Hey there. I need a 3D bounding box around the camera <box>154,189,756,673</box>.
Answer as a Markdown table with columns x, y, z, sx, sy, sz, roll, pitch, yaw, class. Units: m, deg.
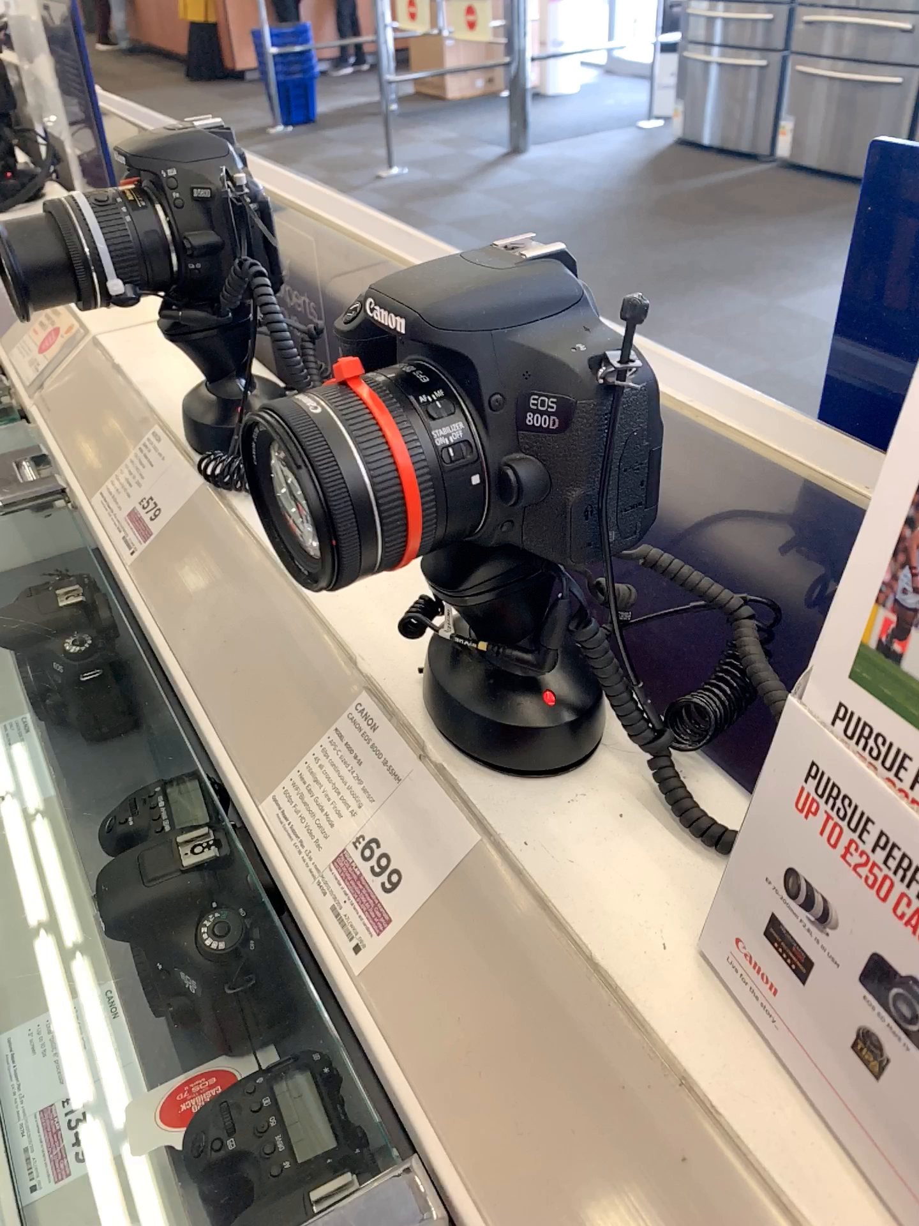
| x | y | z | sx | sy | sz | roll | pitch | yaw | class |
| --- | --- | --- | --- | --- | --- | --- | --- | --- | --- |
| -0.004 | -0.077 | 0.333 | 0.140 | 0.089 | 0.141 | -25 | 42 | -27 | camera |
